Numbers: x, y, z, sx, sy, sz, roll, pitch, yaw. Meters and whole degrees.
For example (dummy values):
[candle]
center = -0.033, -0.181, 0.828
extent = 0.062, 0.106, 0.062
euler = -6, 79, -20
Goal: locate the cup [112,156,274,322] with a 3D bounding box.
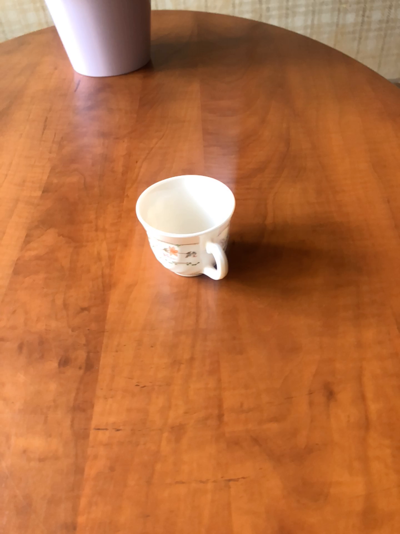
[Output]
[cup]
center = -0.005, -0.021, 0.282
extent = 0.063, 0.048, 0.084
euler = -26, 48, -20
